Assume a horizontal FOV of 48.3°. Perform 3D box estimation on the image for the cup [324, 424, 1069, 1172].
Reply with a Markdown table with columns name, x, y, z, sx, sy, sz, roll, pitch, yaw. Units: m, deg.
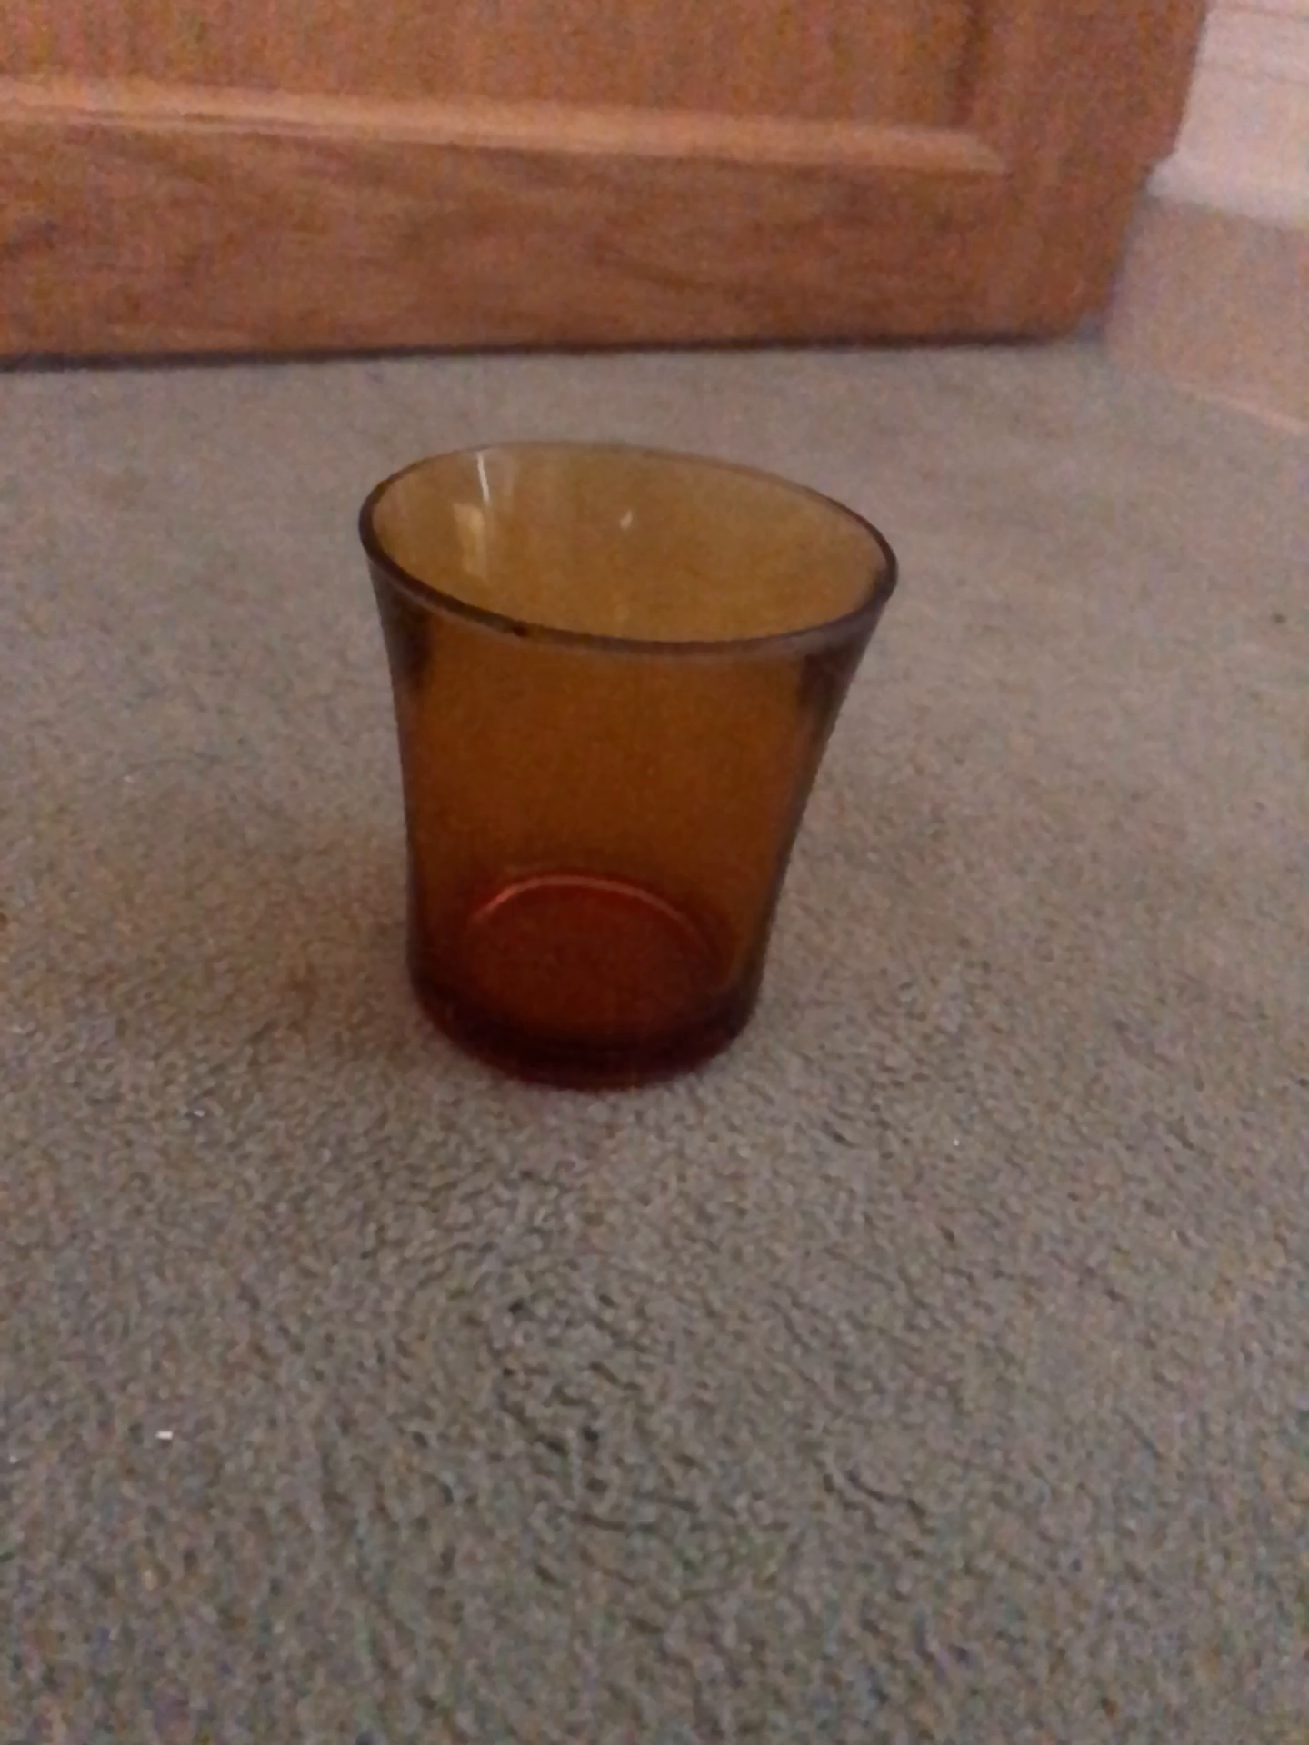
| name | x | y | z | sx | sy | sz | roll | pitch | yaw |
| --- | --- | --- | --- | --- | --- | --- | --- | --- | --- |
| cup | 0.000 | -0.017 | 0.207 | 0.070 | 0.070 | 0.070 | 5 | 32 | -3 |
